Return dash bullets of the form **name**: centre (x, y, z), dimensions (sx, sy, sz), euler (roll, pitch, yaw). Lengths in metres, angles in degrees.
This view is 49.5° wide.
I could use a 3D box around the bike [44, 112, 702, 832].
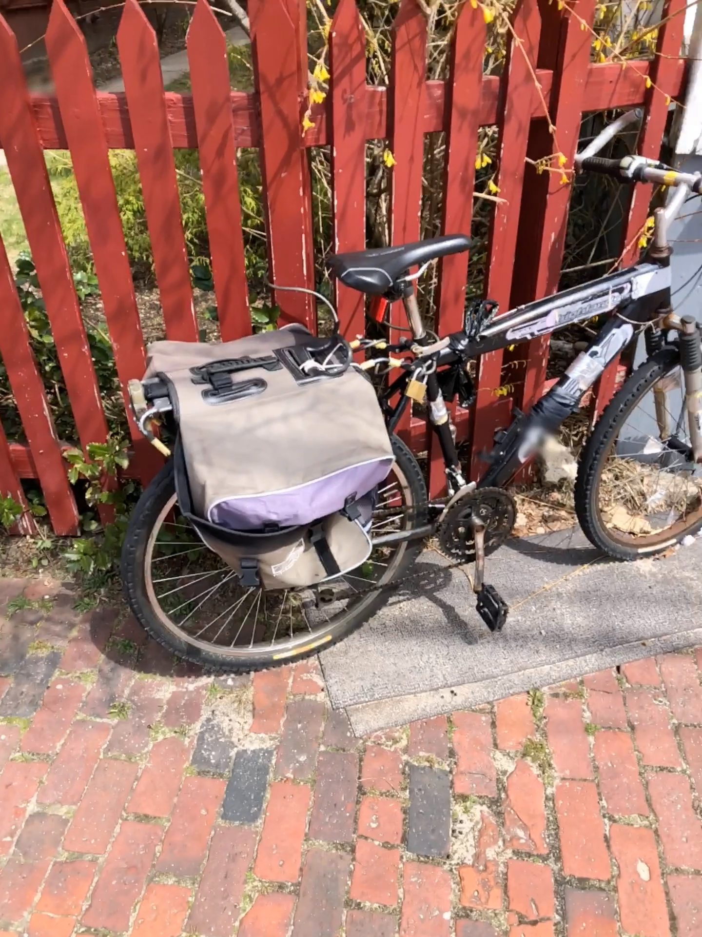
- **bike**: centre (0.338, -0.115, 1.728), dimensions (1.727, 0.999, 0.675), euler (-15, 36, -18)
